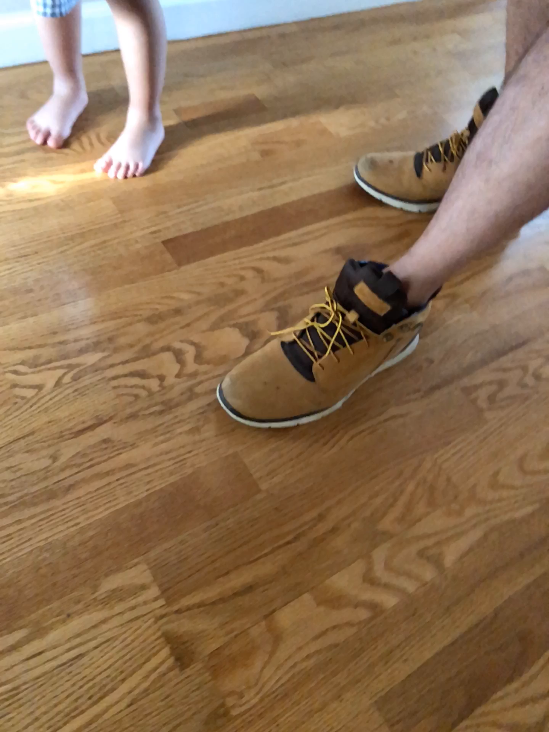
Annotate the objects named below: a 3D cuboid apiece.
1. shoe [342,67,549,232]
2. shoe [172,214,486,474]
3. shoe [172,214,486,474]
[{"bbox_3d":[0.291,-0.334,0.951,0.330,0.159,0.131,5,55,-7],"label":"shoe"},{"bbox_3d":[0.057,-0.033,0.673,0.311,0.139,0.130,-25,63,-25],"label":"shoe"},{"bbox_3d":[0.057,-0.033,0.673,0.311,0.139,0.130,-25,63,-25],"label":"shoe"}]
